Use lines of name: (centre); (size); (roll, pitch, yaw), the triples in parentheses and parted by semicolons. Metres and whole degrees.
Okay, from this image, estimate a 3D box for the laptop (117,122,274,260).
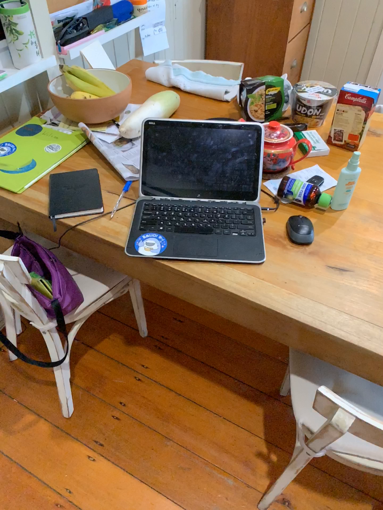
laptop: (0.018, -0.164, 0.924); (0.303, 0.139, 0.341); (2, 46, 2)
